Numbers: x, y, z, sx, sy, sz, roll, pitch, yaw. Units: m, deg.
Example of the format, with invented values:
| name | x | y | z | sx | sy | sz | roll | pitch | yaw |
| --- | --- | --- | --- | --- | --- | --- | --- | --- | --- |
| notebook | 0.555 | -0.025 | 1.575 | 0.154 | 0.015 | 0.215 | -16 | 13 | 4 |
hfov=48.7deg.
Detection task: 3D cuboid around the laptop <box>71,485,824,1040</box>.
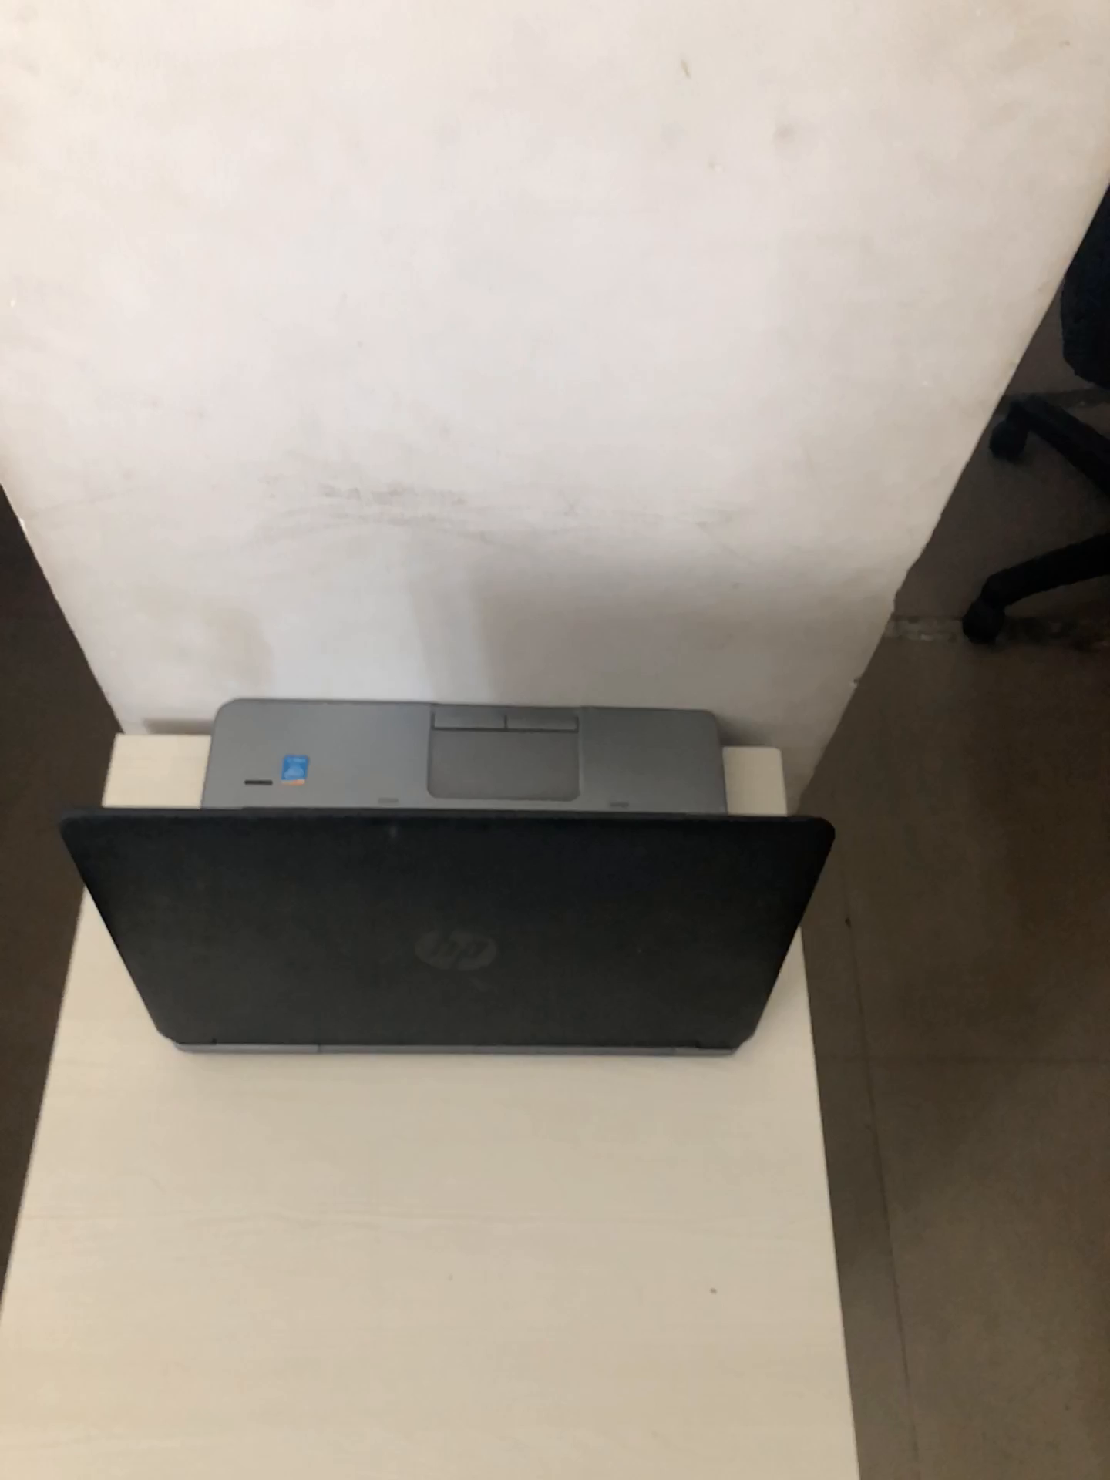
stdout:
| name | x | y | z | sx | sy | sz | roll | pitch | yaw |
| --- | --- | --- | --- | --- | --- | --- | --- | --- | --- |
| laptop | -0.047 | 0.026 | 0.660 | 0.317 | 0.226 | 0.205 | 1 | 62 | -3 |
